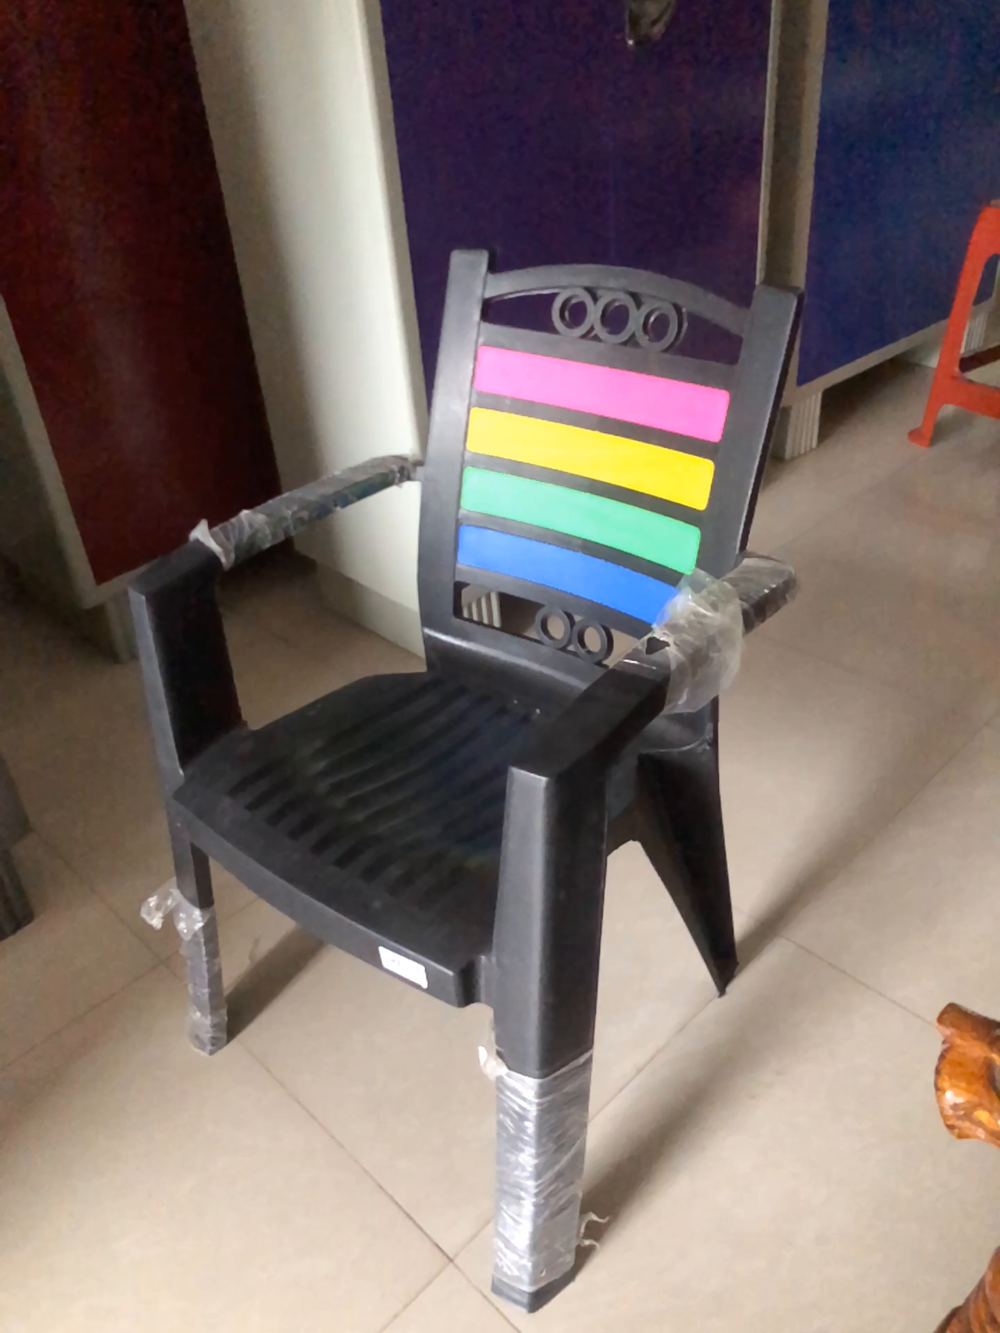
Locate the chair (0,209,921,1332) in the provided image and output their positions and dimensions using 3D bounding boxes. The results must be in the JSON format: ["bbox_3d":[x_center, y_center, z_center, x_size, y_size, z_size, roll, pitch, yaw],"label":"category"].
[{"bbox_3d":[-0.022,0.083,1.255,0.641,0.975,0.612,23,43,36],"label":"chair"}]
